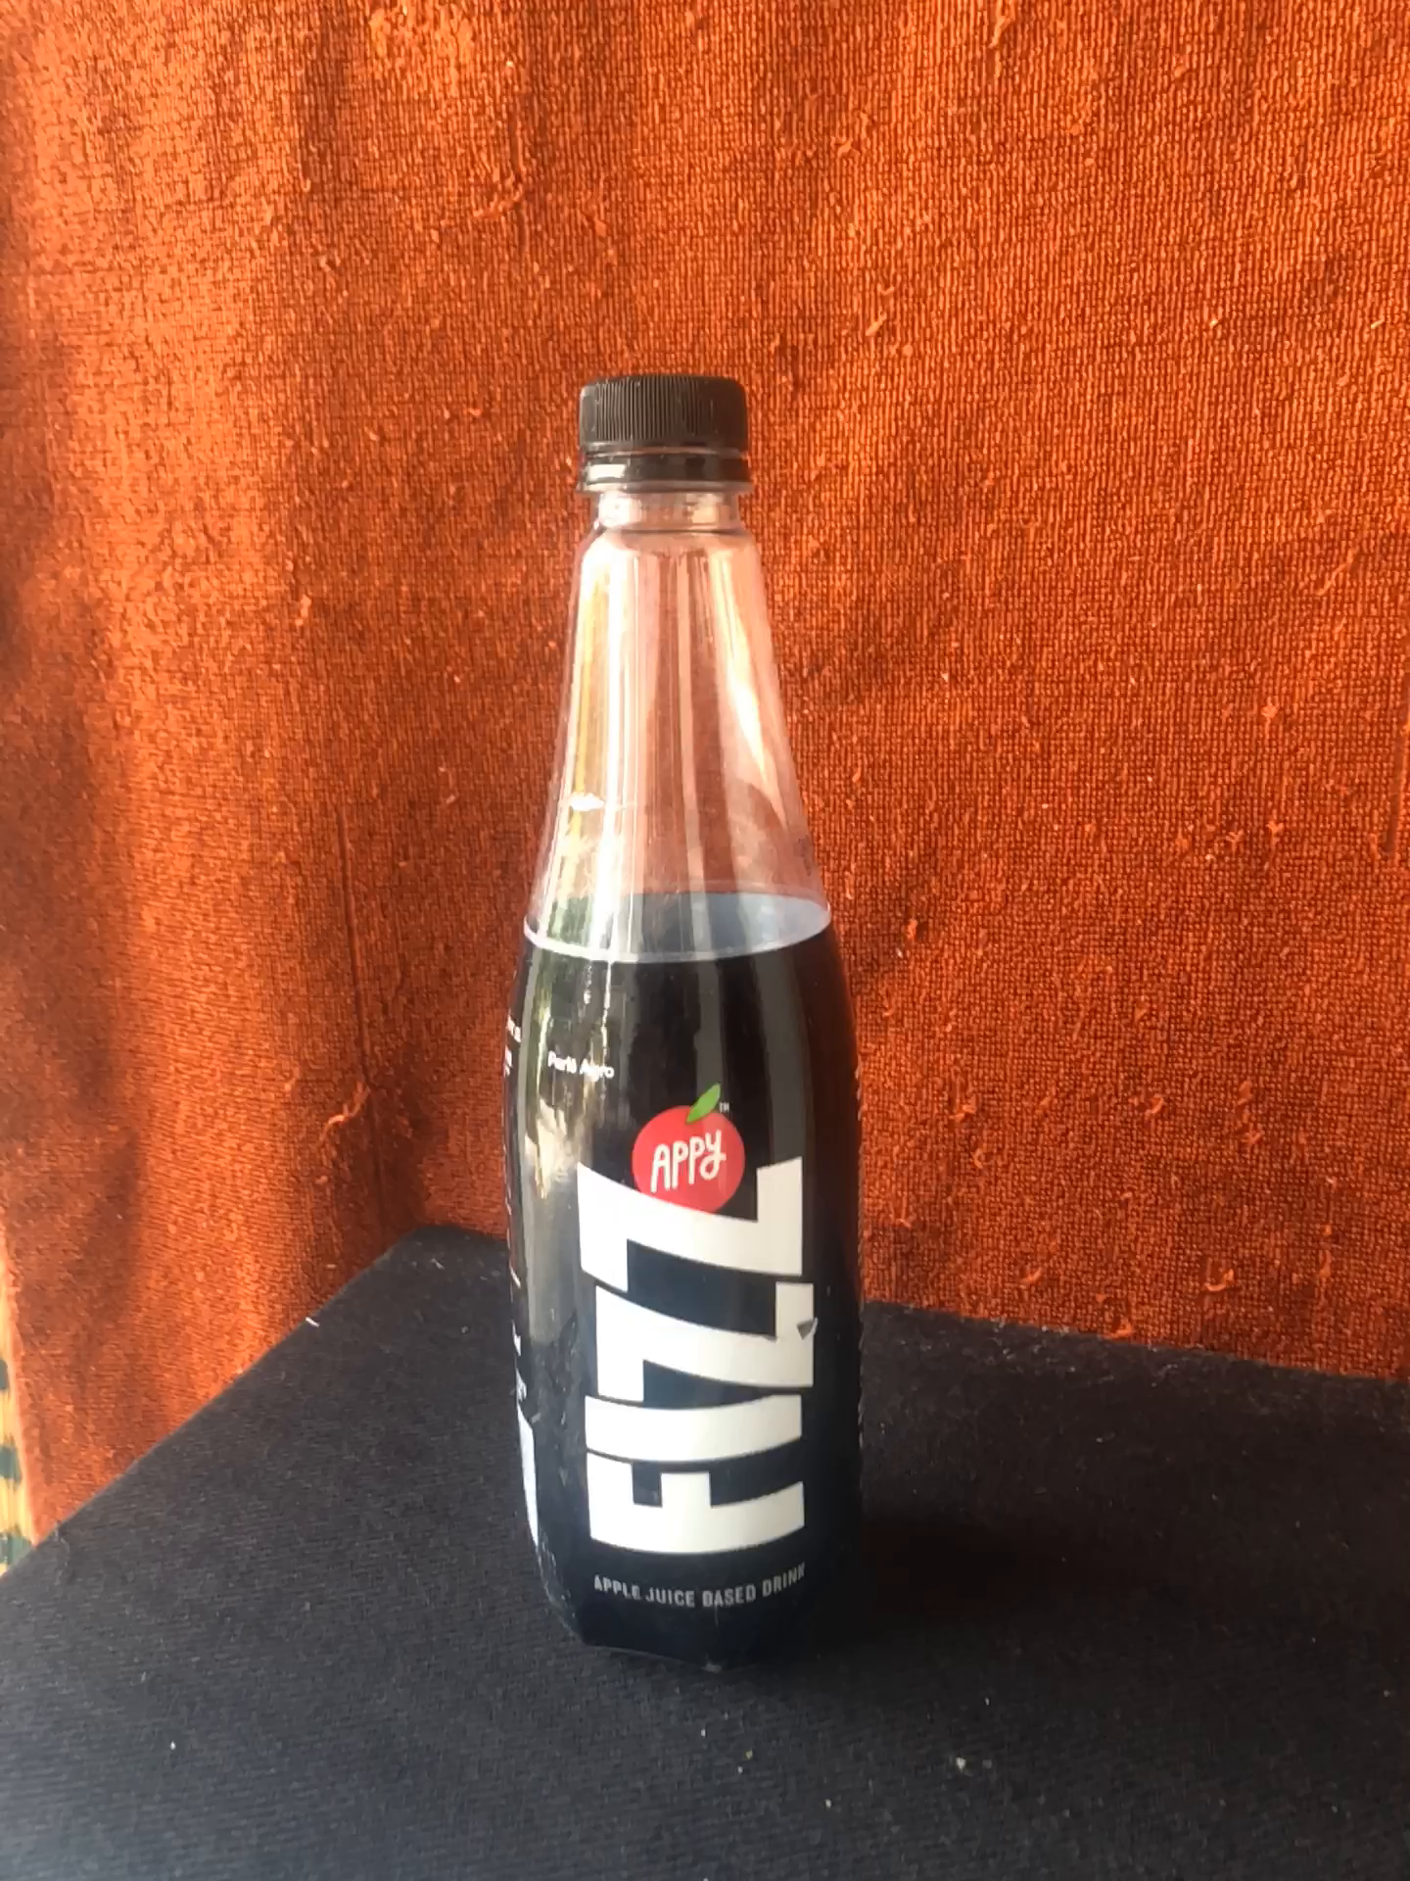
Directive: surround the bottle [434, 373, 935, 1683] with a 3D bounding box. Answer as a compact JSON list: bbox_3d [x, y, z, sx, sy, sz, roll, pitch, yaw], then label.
[{"bbox_3d":[-0.004,0.017,0.277,0.070,0.219,0.060,-1,16,-3],"label":"bottle"}]
